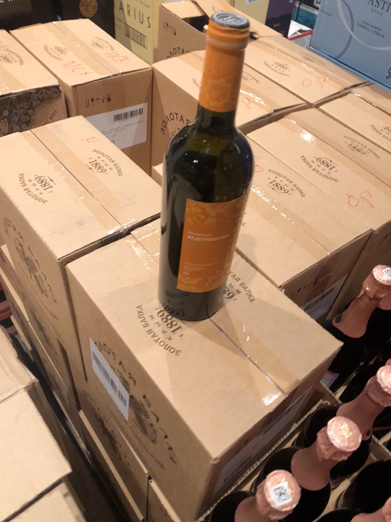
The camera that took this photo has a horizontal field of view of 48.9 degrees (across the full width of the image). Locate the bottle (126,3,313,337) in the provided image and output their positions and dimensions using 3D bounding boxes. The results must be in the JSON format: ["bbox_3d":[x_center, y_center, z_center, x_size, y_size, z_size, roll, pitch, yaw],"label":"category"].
[{"bbox_3d":[0.004,-0.058,0.388,0.090,0.278,0.090,3,48,-3],"label":"bottle"}]
